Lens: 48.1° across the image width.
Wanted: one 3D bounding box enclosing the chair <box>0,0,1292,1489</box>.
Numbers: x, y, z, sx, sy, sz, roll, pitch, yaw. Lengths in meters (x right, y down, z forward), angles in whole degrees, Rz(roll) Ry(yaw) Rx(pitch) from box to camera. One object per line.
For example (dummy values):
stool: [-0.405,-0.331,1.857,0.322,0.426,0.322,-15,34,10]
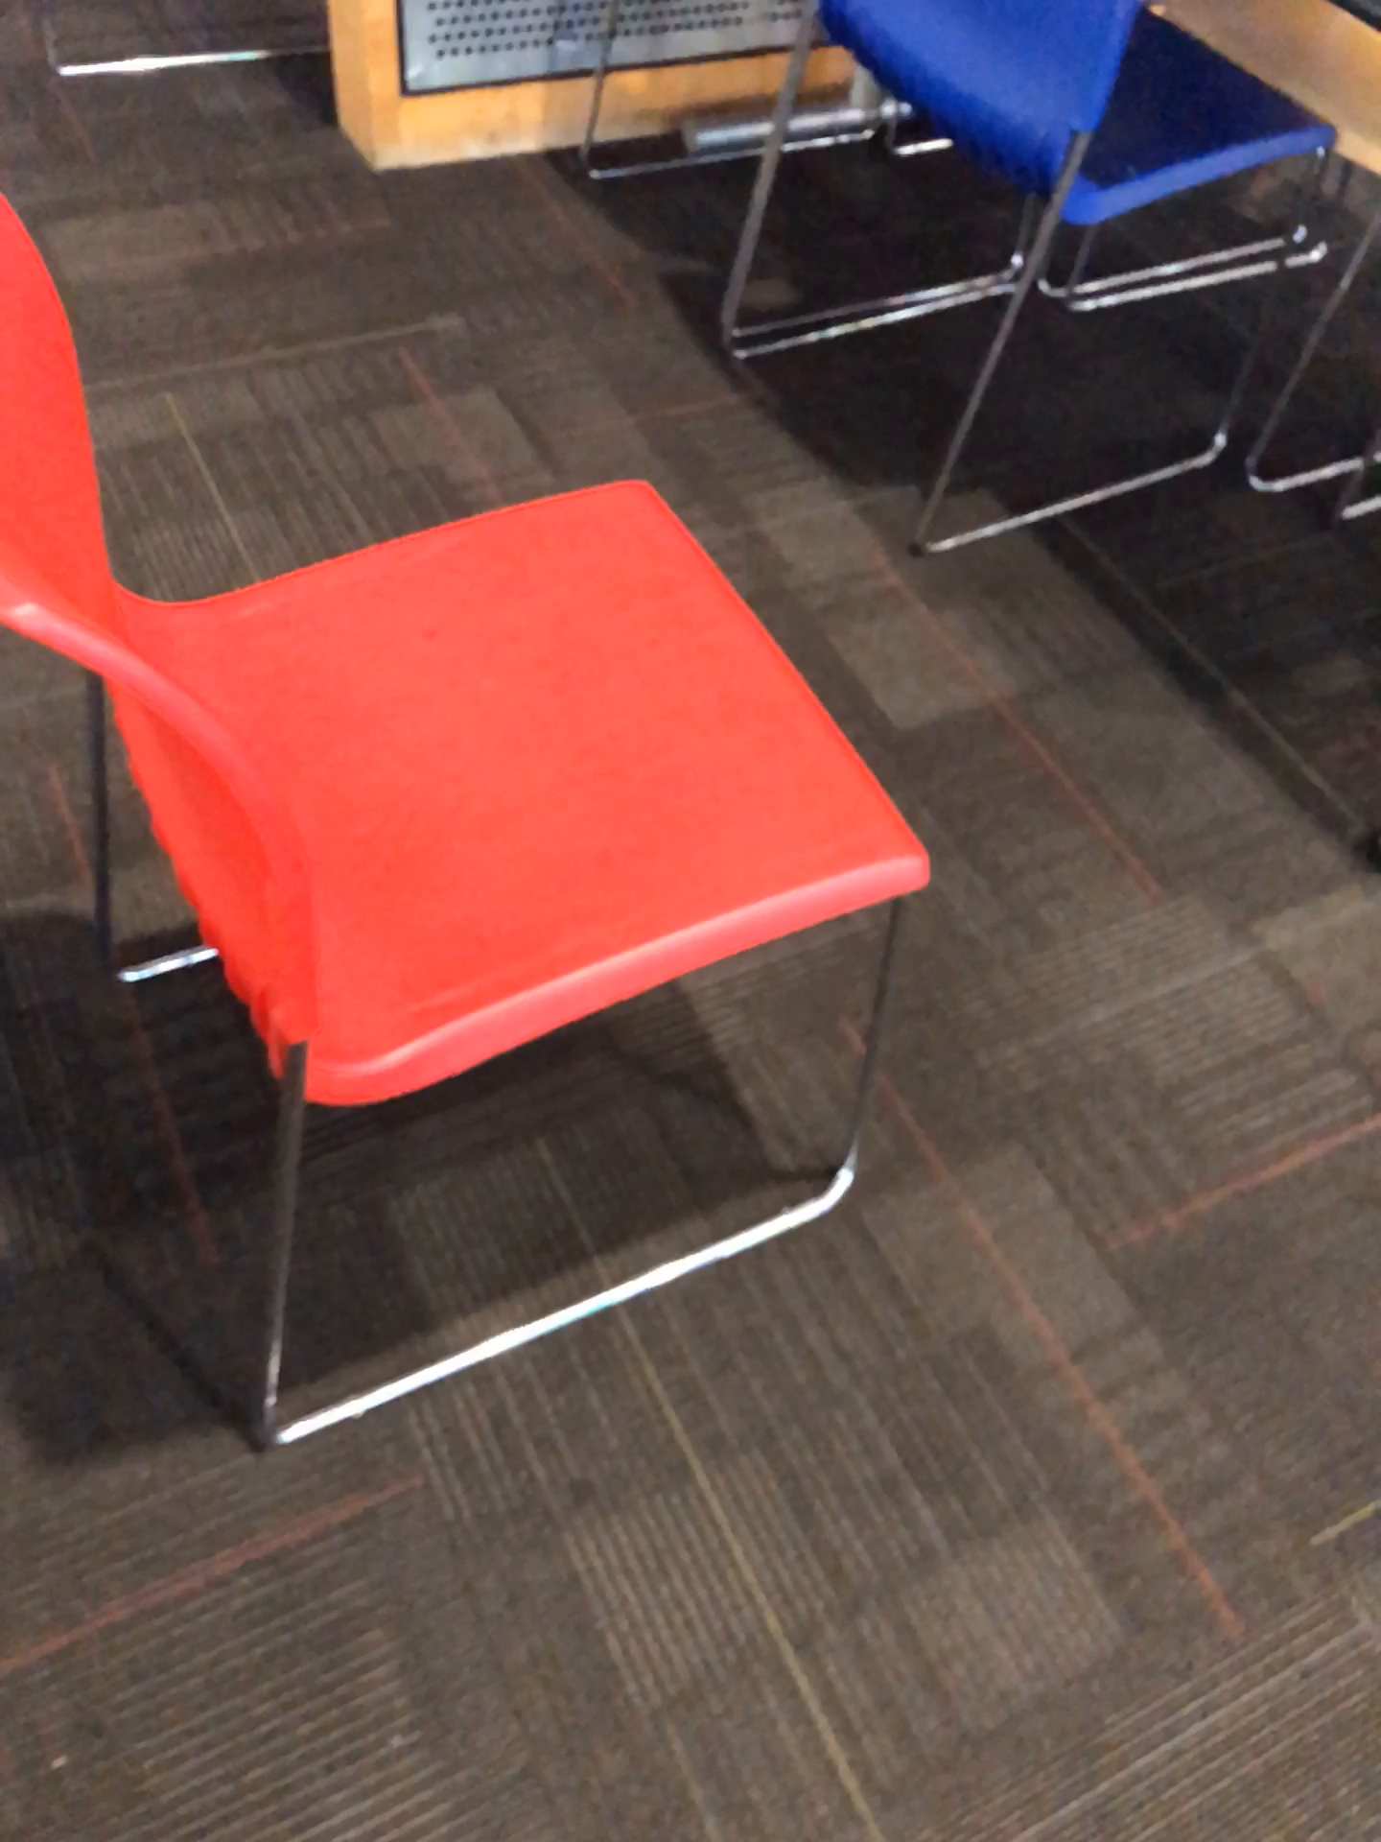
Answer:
chair: [-0.156,-0.131,1.048,0.610,0.767,0.562,-17,55,-19]
